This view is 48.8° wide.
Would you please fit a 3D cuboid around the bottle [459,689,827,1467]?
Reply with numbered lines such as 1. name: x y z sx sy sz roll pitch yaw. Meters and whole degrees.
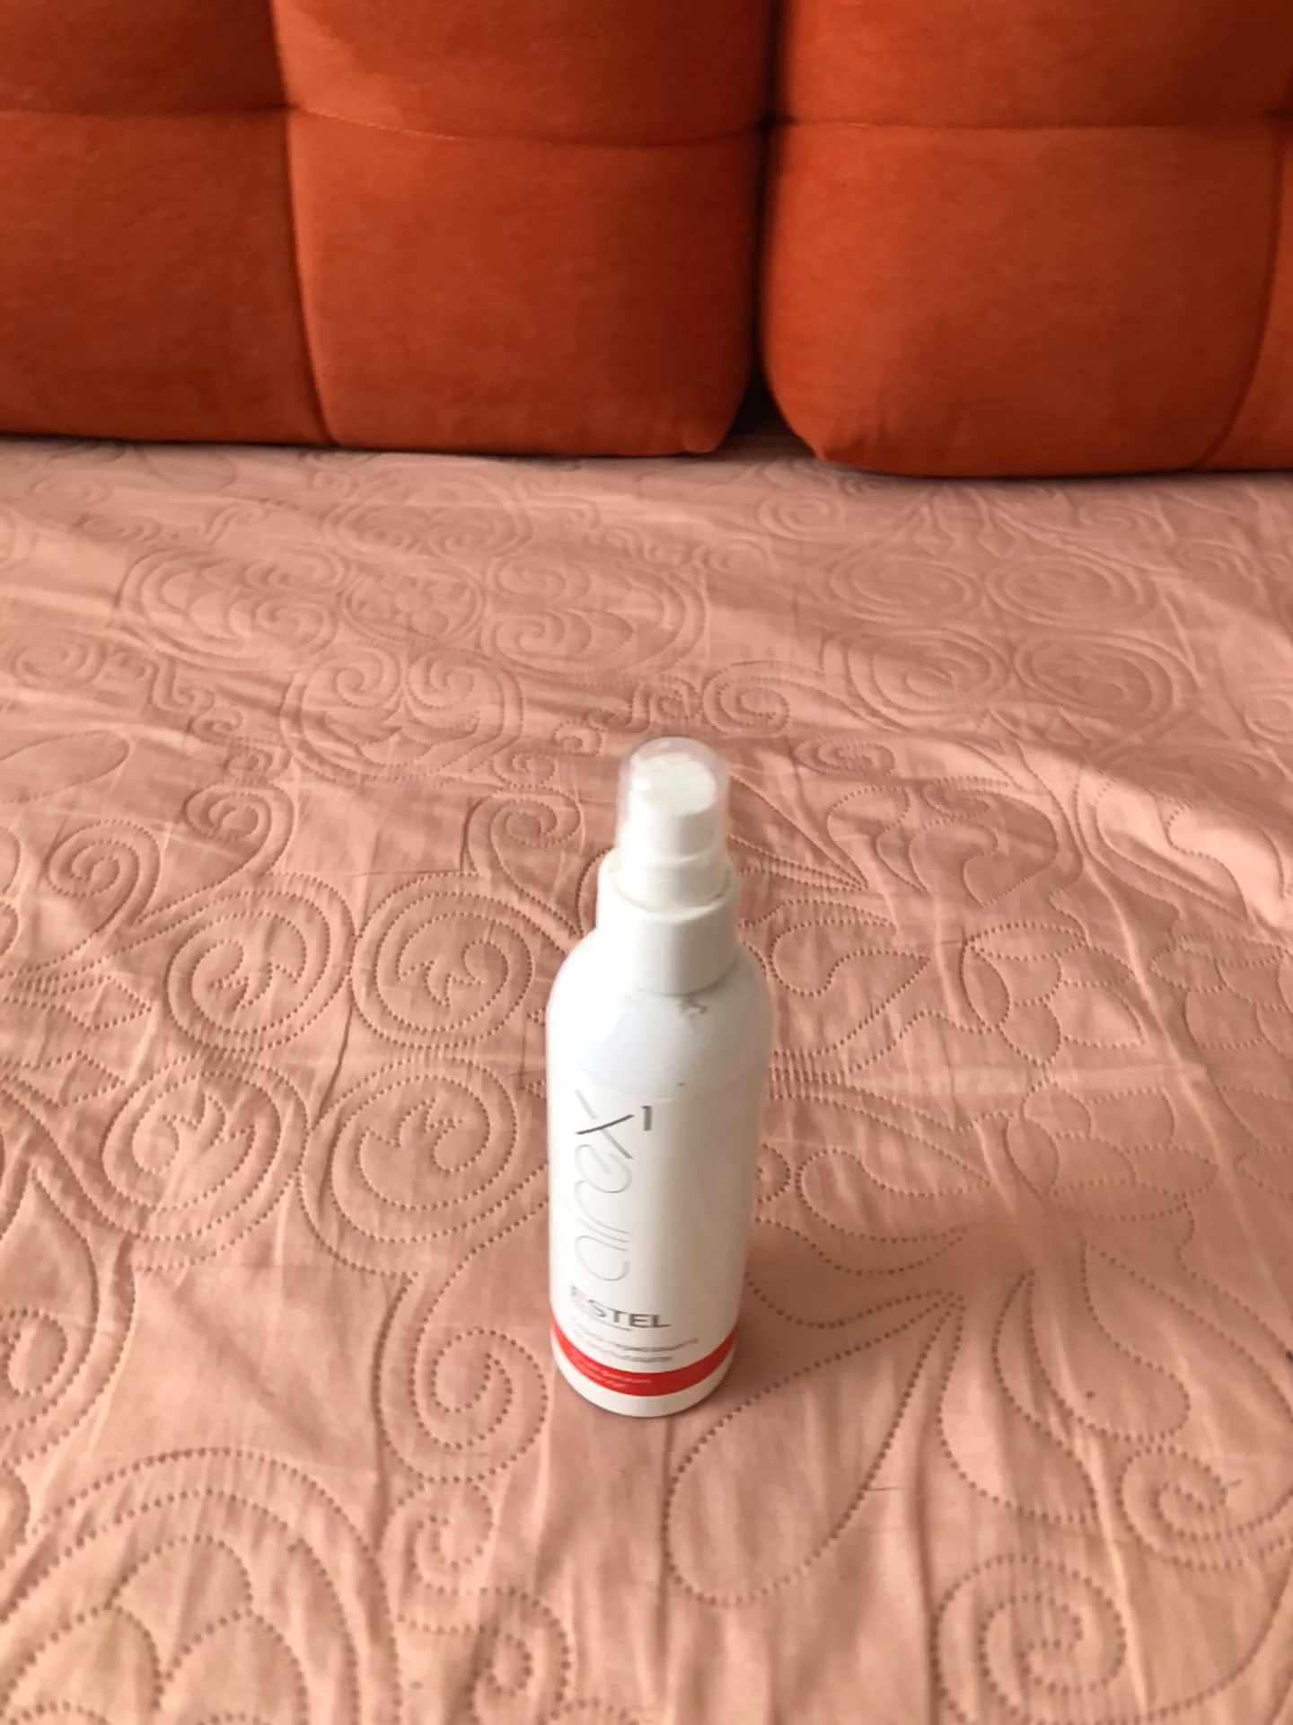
1. bottle: -0.001 0.053 0.302 0.050 0.169 0.050 1 39 -1
